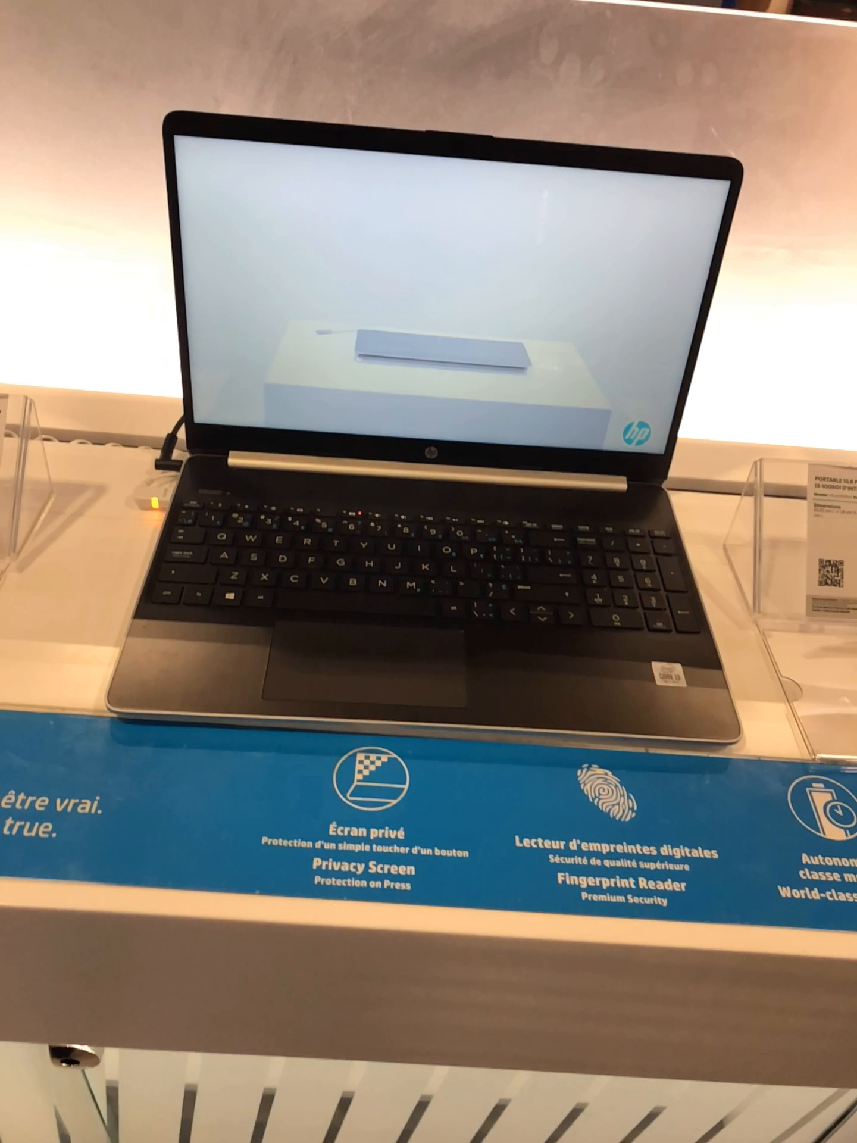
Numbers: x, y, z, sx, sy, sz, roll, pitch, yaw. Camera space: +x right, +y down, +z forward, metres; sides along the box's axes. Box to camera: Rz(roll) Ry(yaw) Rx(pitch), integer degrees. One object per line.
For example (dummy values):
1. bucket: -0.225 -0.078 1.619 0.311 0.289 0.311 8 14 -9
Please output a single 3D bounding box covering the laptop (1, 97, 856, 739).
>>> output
1. laptop: 0.006 -0.097 0.549 0.355 0.221 0.284 4 42 -2
